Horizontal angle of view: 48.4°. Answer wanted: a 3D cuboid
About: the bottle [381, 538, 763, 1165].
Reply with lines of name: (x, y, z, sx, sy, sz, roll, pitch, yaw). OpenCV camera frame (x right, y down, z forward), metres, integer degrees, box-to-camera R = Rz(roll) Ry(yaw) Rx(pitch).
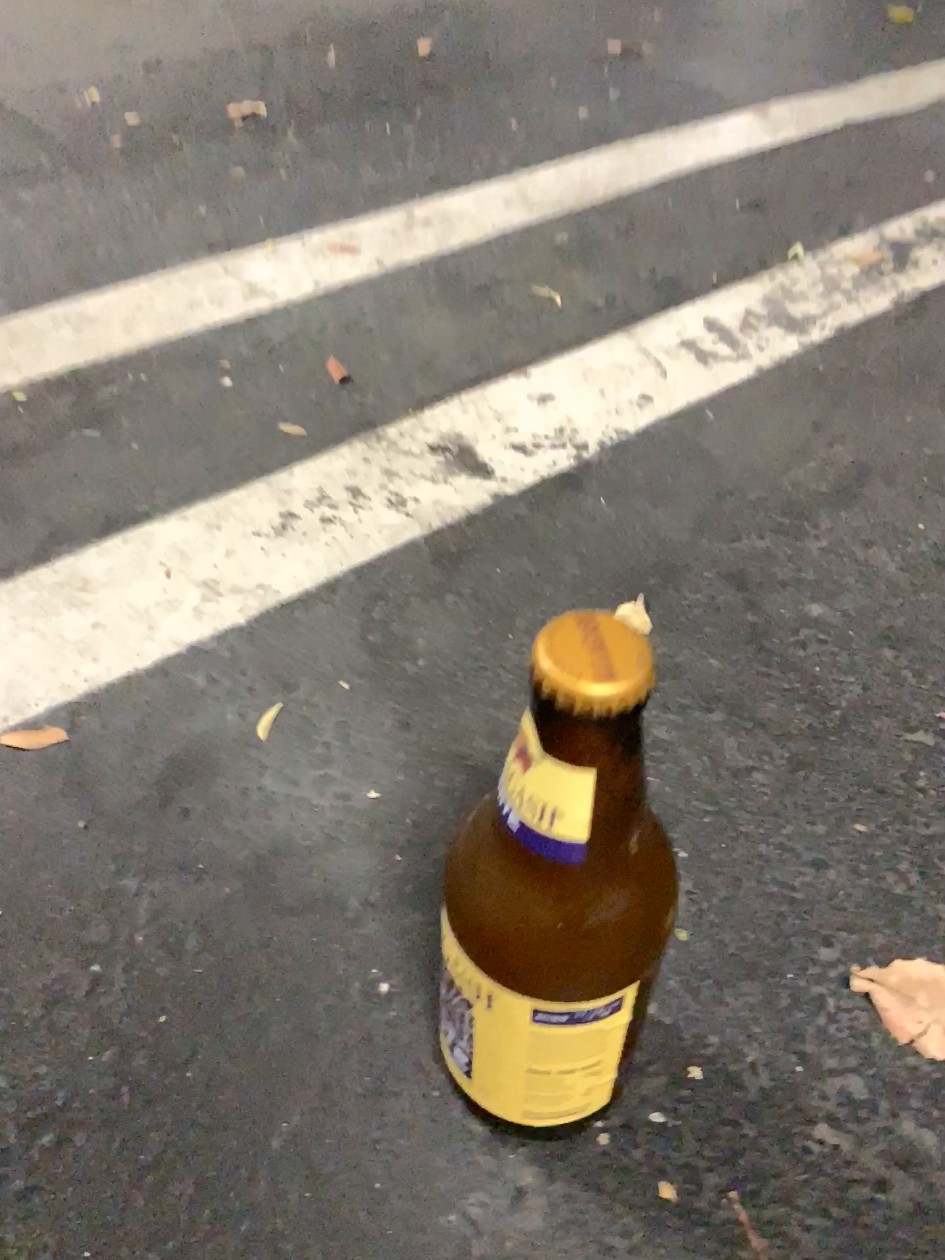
bottle: (0.020, 0.074, 0.303, 0.070, 0.190, 0.070, 0, 43, 0)
